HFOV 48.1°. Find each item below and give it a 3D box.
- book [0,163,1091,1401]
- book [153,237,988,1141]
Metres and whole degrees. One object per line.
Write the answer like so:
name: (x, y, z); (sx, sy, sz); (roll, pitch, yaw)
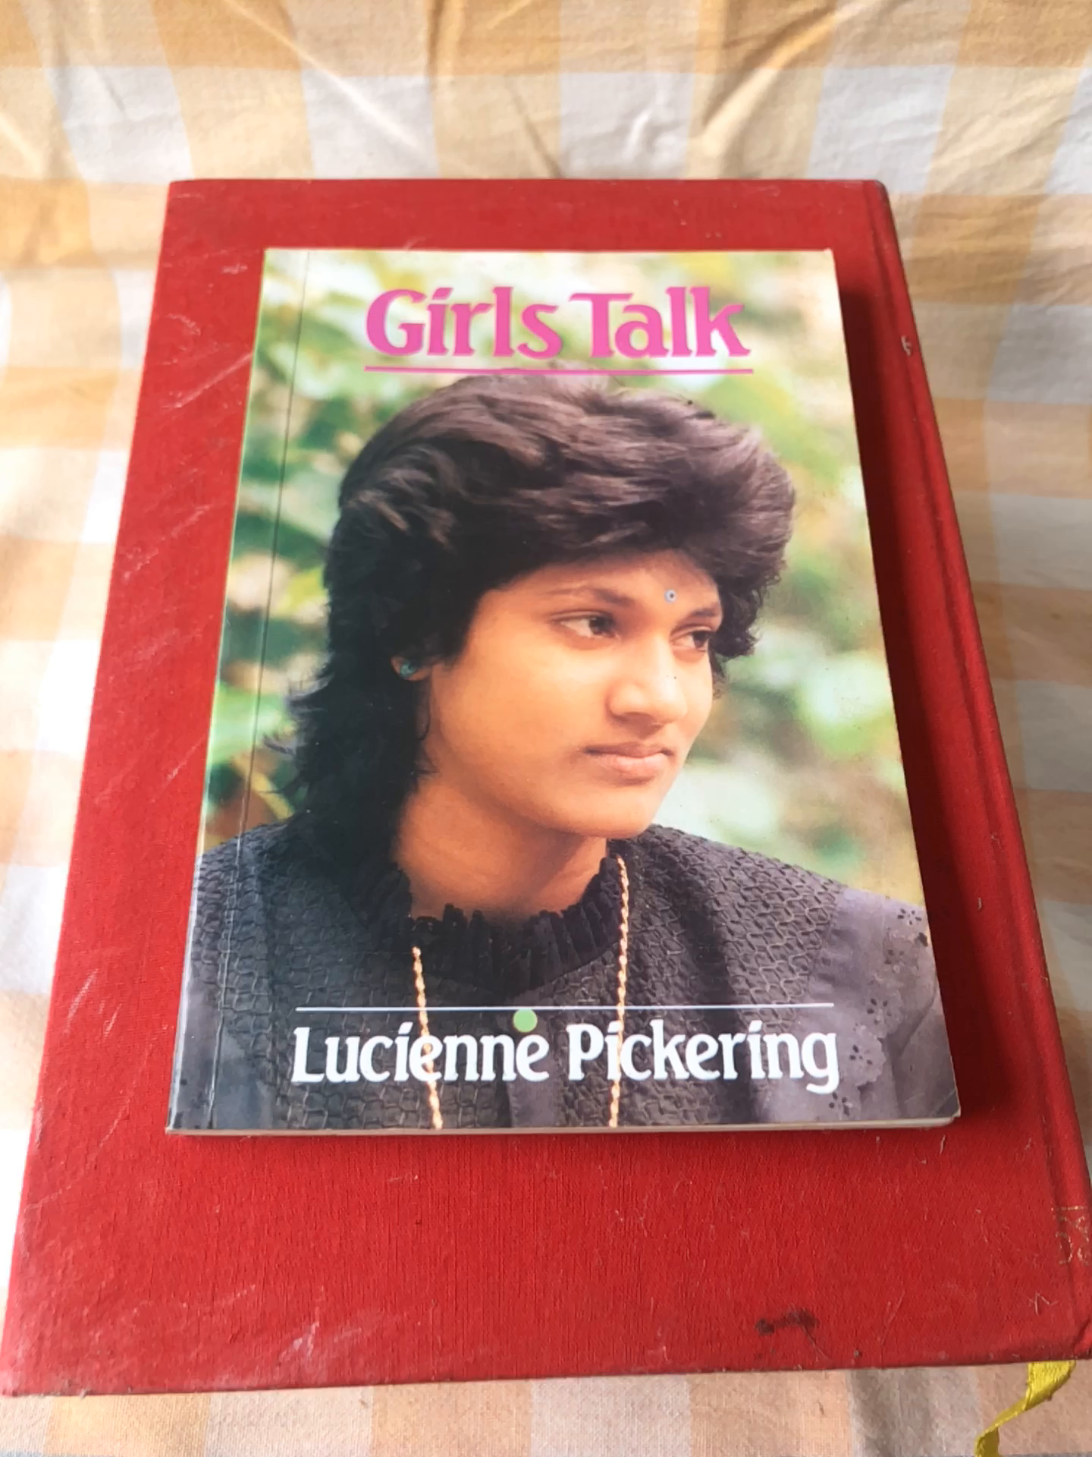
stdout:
book: (0.001, -0.012, 0.246); (0.174, 0.031, 0.249); (-1, 65, -2)
book: (0.003, -0.018, 0.239); (0.130, 0.025, 0.182); (0, 66, -1)
